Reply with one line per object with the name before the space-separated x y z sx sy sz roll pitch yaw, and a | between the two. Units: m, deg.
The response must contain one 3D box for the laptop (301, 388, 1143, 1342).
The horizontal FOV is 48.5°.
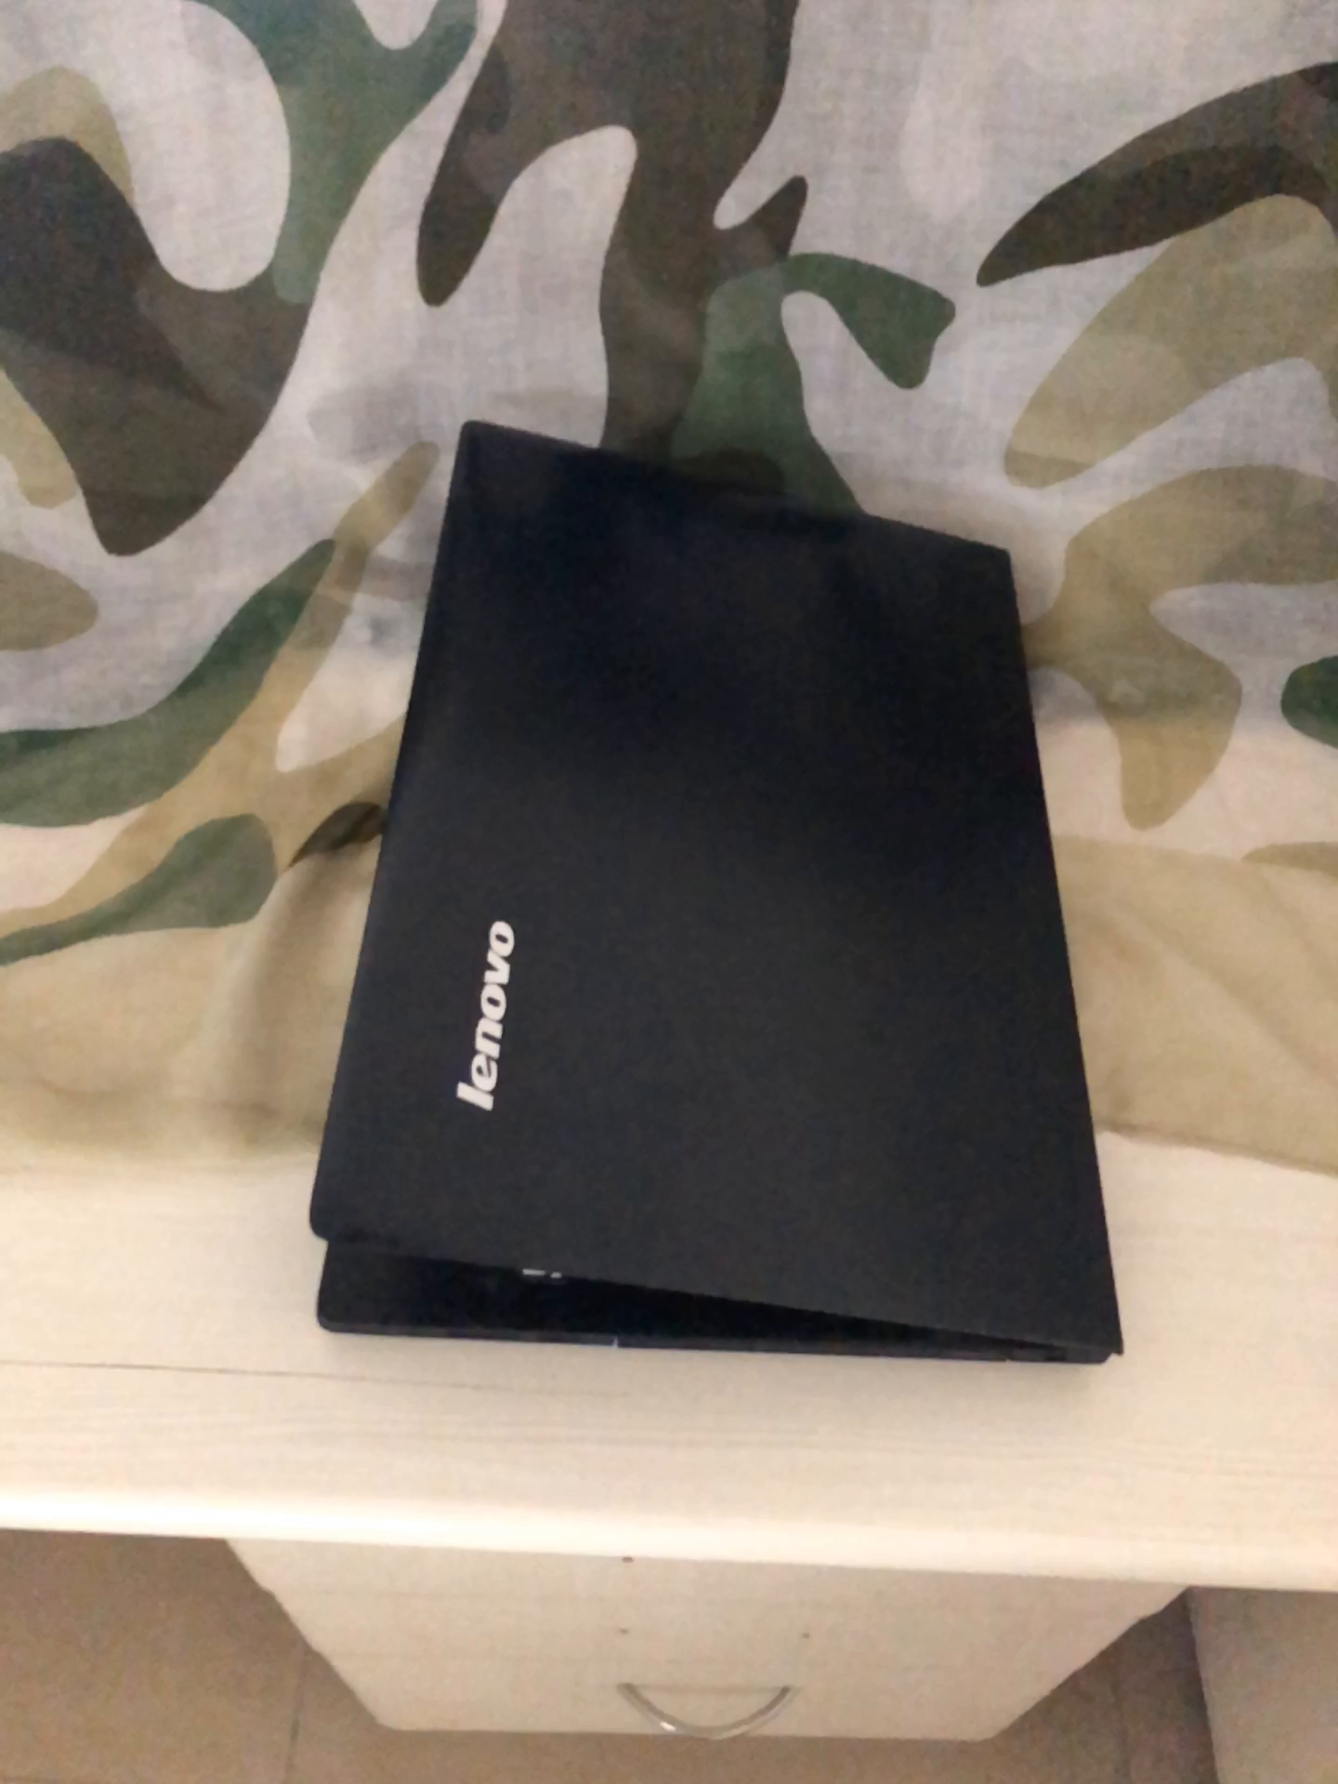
laptop | 0.026 -0.038 0.573 0.249 0.059 0.387 5 54 -2
